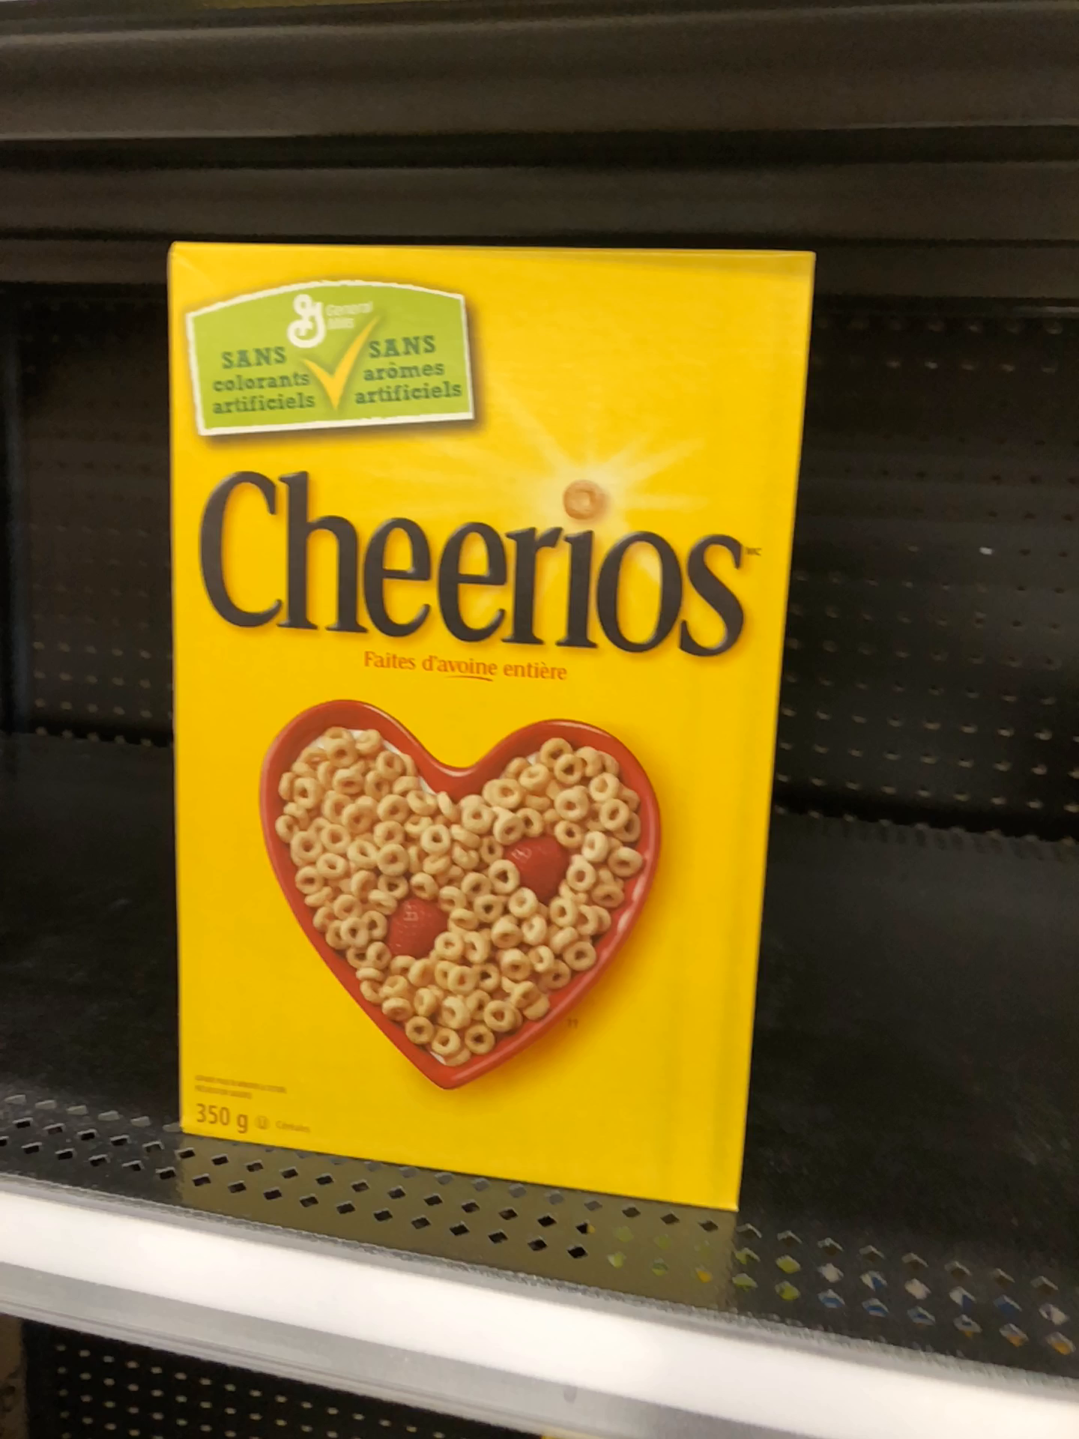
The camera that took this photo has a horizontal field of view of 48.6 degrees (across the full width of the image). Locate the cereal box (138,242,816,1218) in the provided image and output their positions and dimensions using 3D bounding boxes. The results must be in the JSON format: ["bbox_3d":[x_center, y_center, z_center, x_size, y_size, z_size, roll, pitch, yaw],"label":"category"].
[{"bbox_3d":[-0.024,0.001,0.430,0.210,0.309,0.080,4,11,9],"label":"cereal box"}]
